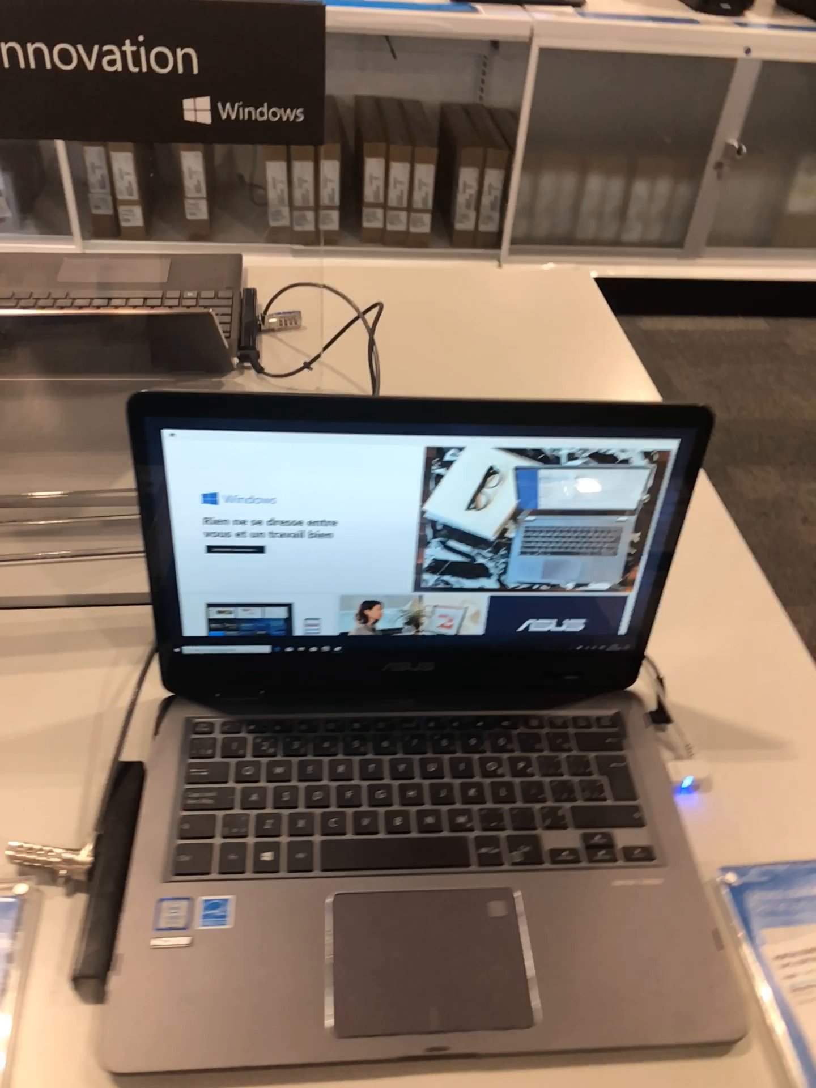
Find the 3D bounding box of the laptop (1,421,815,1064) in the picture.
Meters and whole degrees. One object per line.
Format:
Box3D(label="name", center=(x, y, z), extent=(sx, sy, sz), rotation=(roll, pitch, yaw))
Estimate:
Box3D(label="laptop", center=(0.011, 0.088, 0.443), extent=(0.302, 0.217, 0.225), rotation=(0, 40, -5))
